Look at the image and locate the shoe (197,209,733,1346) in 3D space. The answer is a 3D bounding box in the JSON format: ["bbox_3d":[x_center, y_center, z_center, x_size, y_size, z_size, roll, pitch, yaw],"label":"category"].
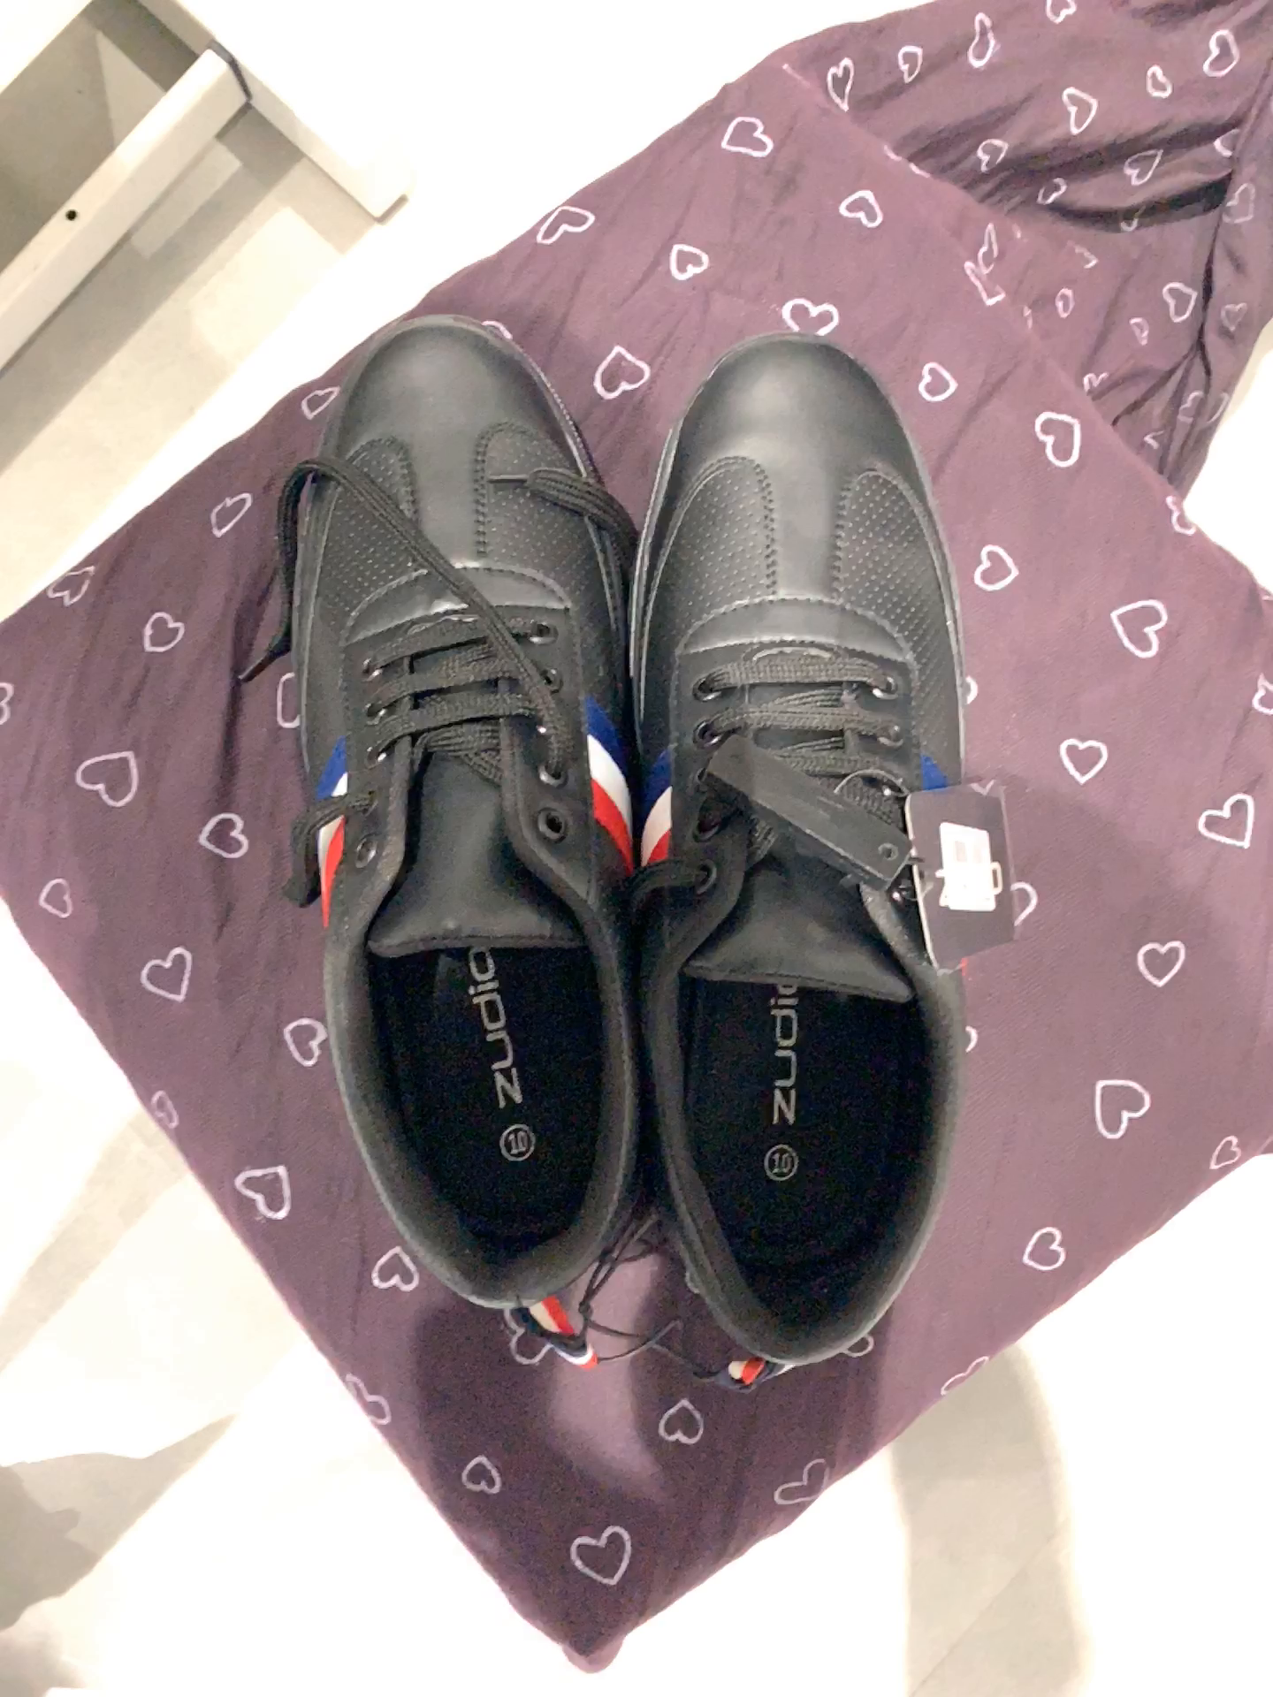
[{"bbox_3d":[-0.051,-0.022,0.409,0.120,0.090,0.310,-7,83,1],"label":"shoe"}]

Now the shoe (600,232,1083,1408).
[{"bbox_3d":[0.050,-0.010,0.372,0.110,0.080,0.300,-2,84,1],"label":"shoe"}]
